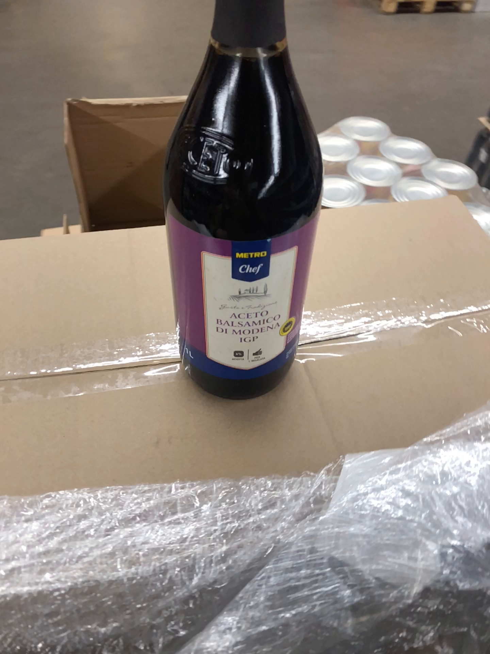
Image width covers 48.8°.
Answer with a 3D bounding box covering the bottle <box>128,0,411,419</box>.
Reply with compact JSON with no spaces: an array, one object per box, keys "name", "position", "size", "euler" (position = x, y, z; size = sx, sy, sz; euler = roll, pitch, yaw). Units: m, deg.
[{"name":"bottle","position":[-0.002,-0.062,0.301],"size":[0.090,0.257,0.091],"euler":[2,49,-2]}]
